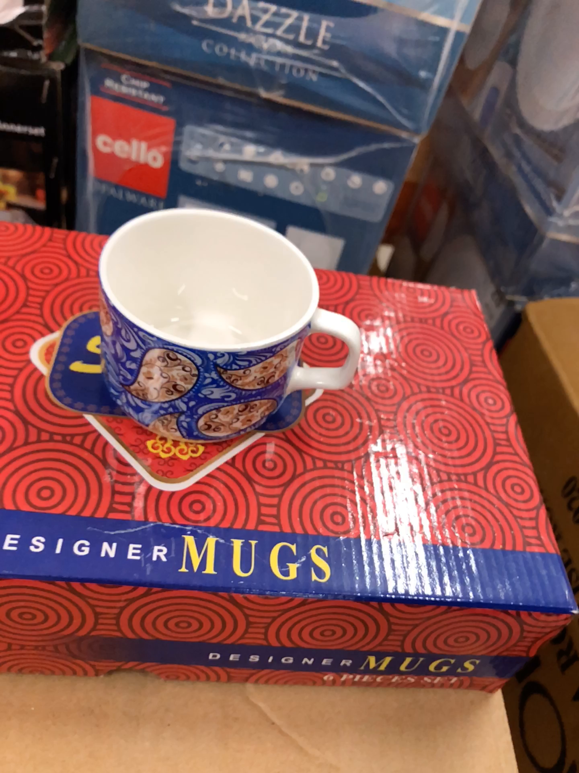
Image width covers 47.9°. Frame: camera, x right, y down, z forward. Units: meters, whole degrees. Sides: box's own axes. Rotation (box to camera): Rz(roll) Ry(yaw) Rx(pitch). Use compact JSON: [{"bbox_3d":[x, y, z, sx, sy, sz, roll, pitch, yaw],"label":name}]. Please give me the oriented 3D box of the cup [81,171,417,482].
[{"bbox_3d":[-0.014,-0.022,0.236,0.100,0.060,0.070,13,43,-5],"label":"cup"}]
